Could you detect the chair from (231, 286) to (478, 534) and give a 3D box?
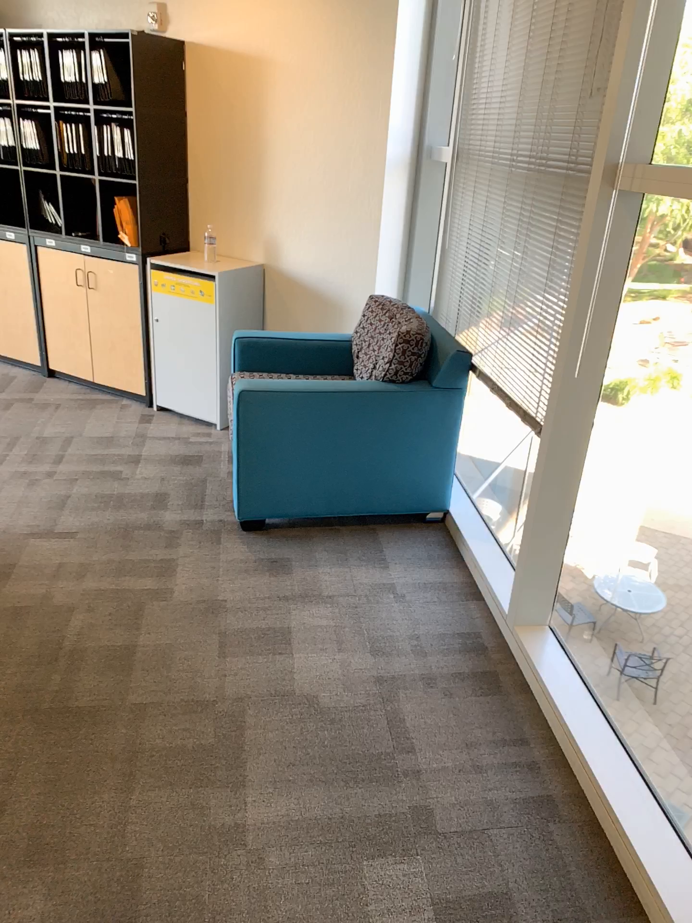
[{"bbox_3d":[-0.044,-0.268,3.193,0.920,0.826,0.915,0,24,-8],"label":"chair"}]
